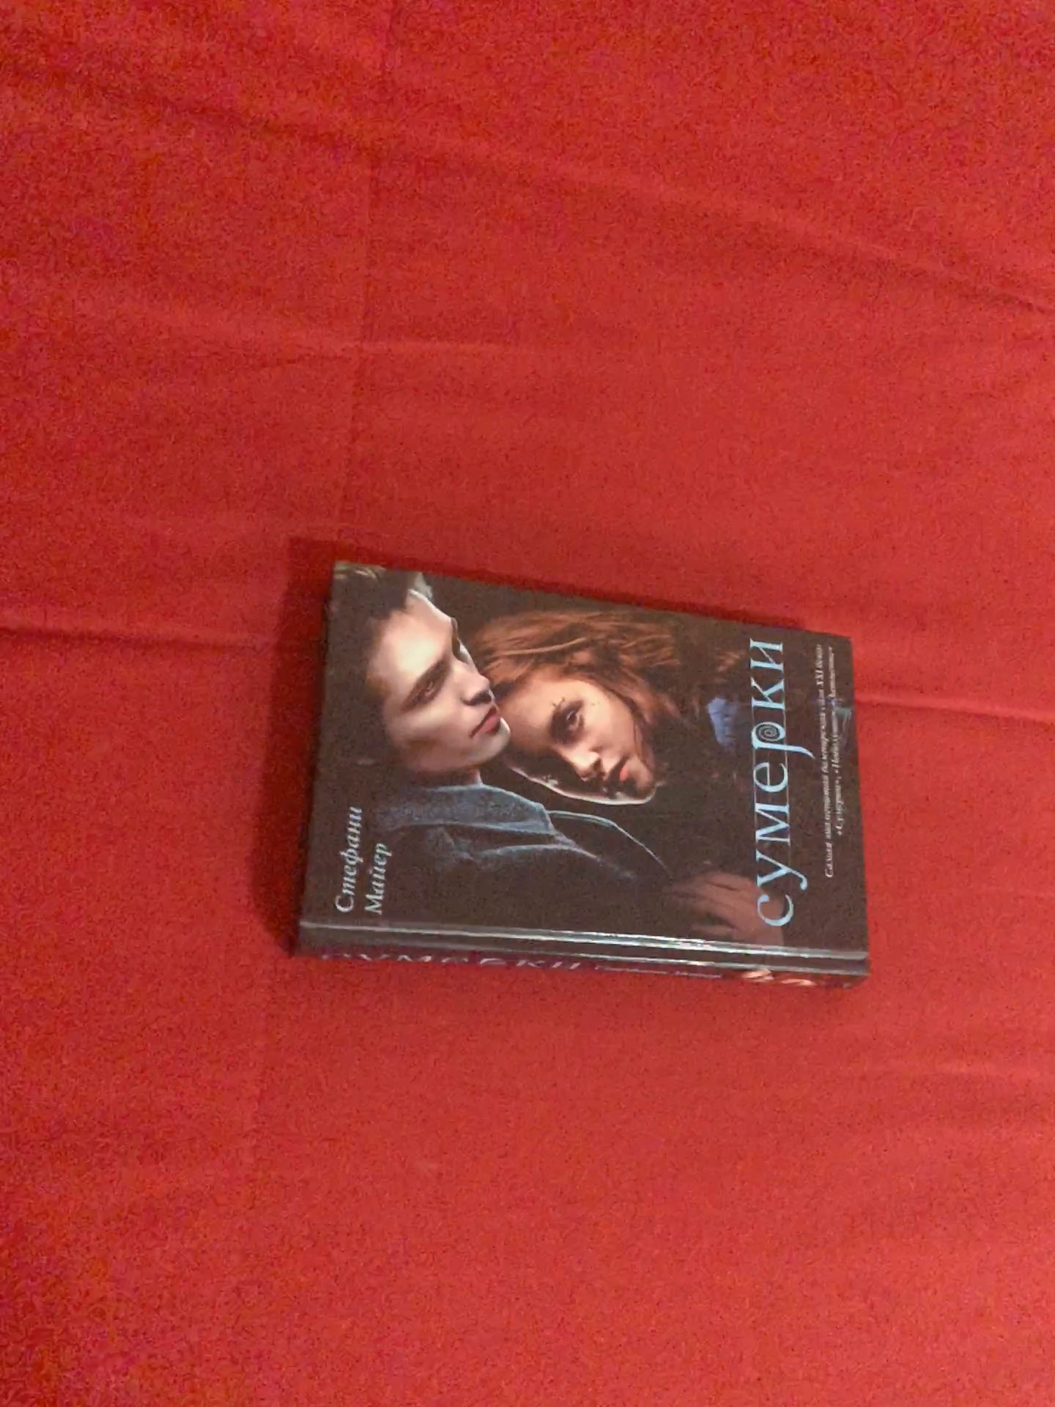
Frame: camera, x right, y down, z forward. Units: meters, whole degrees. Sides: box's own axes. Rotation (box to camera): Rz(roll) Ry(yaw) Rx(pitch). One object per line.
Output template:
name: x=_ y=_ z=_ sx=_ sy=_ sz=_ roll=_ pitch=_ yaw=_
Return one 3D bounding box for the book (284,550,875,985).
book: x=0.025 y=0.029 z=0.396 sx=0.209 sy=0.036 sz=0.134 roll=7 pitch=76 yaw=-16
